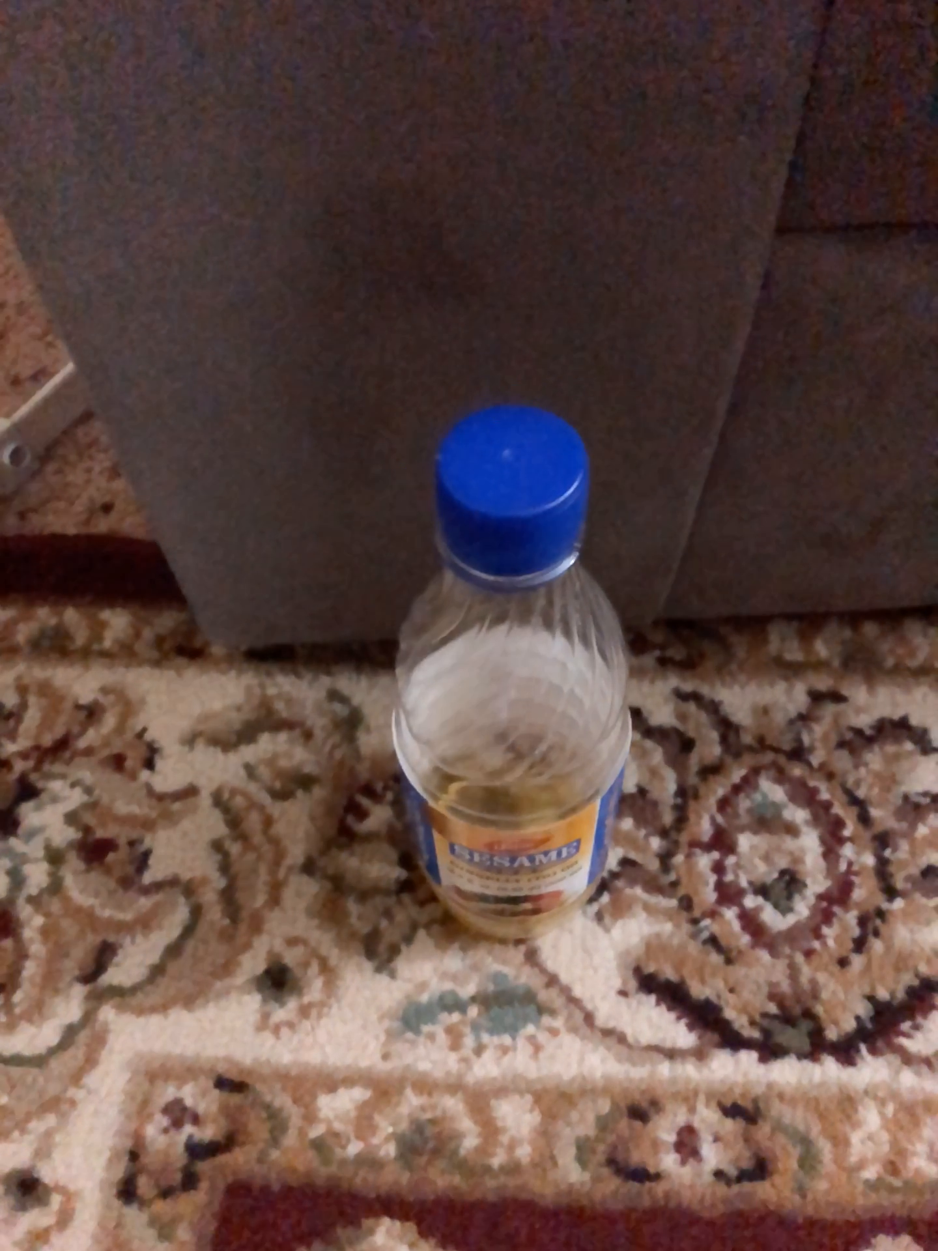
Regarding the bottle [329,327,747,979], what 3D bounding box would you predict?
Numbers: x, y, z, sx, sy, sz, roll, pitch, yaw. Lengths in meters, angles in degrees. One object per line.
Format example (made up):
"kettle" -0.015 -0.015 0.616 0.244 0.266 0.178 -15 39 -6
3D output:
"bottle" 0.018 0.027 0.276 0.070 0.200 0.070 -2 54 3
